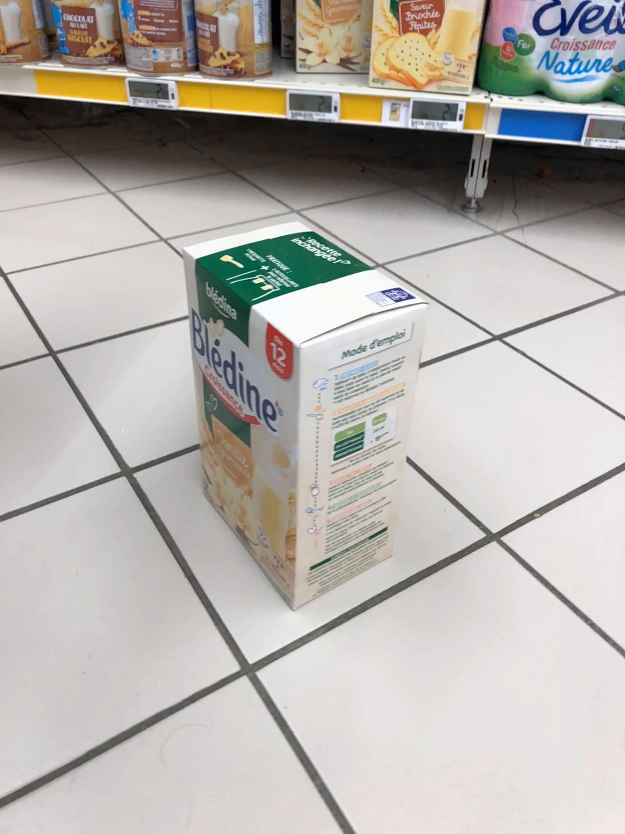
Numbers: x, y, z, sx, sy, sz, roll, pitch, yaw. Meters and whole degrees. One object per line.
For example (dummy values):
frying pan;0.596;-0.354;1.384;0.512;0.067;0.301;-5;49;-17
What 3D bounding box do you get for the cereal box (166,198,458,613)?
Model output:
cereal box;-0.008;-0.011;0.434;0.100;0.199;0.140;-19;41;-27
